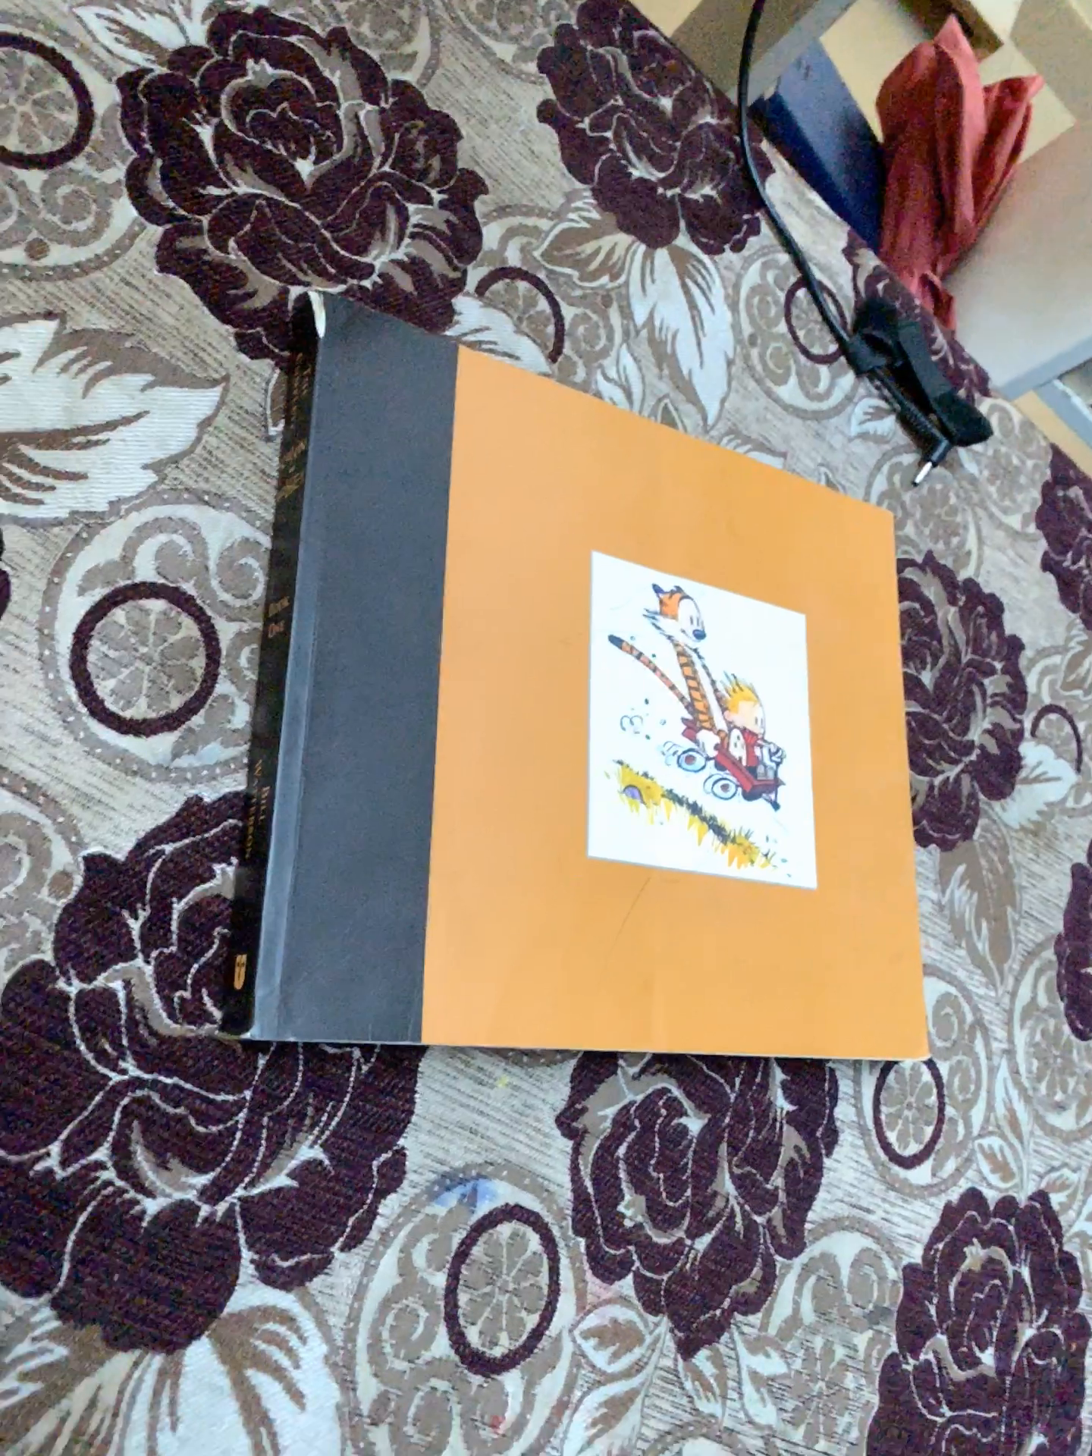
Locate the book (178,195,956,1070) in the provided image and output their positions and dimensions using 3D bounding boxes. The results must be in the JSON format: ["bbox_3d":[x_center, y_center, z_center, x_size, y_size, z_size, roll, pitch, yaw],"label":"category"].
[{"bbox_3d":[0.026,-0.016,0.397,0.271,0.040,0.261,11,70,-31],"label":"book"}]
